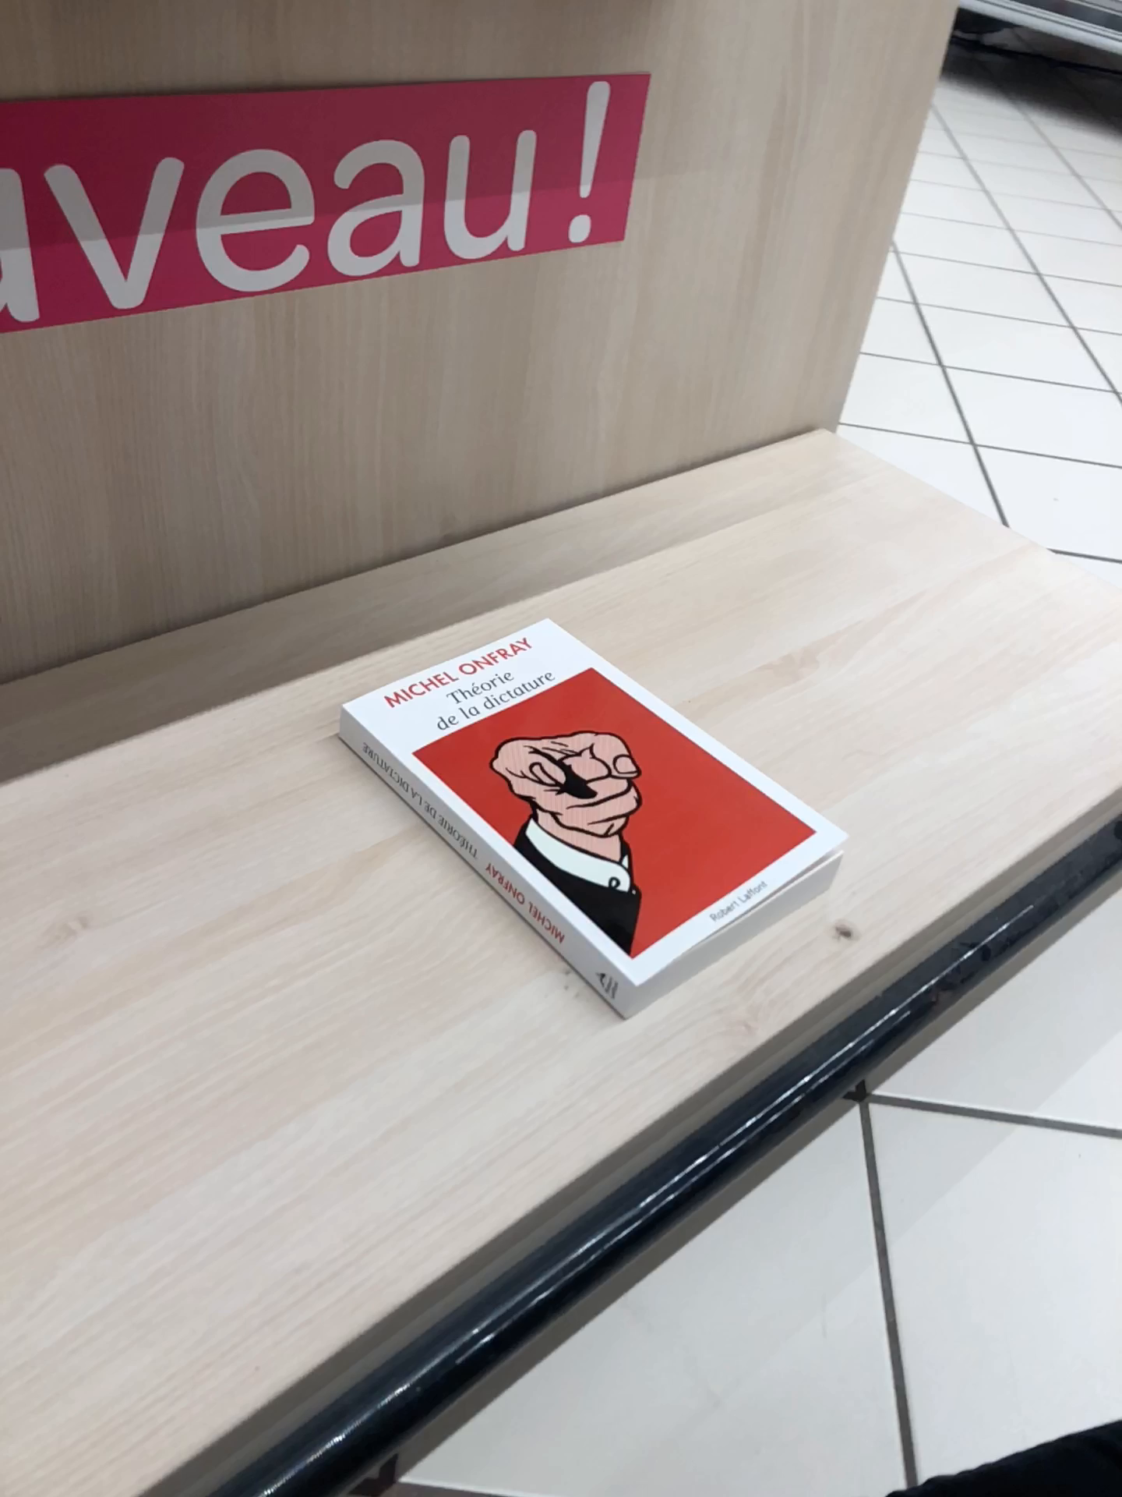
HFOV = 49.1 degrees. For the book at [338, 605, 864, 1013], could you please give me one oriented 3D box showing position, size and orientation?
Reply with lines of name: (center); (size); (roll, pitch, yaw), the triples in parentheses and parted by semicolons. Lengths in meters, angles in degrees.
book: (0.013, 0.014, 0.569); (0.139, 0.029, 0.207); (-24, 49, -35)
